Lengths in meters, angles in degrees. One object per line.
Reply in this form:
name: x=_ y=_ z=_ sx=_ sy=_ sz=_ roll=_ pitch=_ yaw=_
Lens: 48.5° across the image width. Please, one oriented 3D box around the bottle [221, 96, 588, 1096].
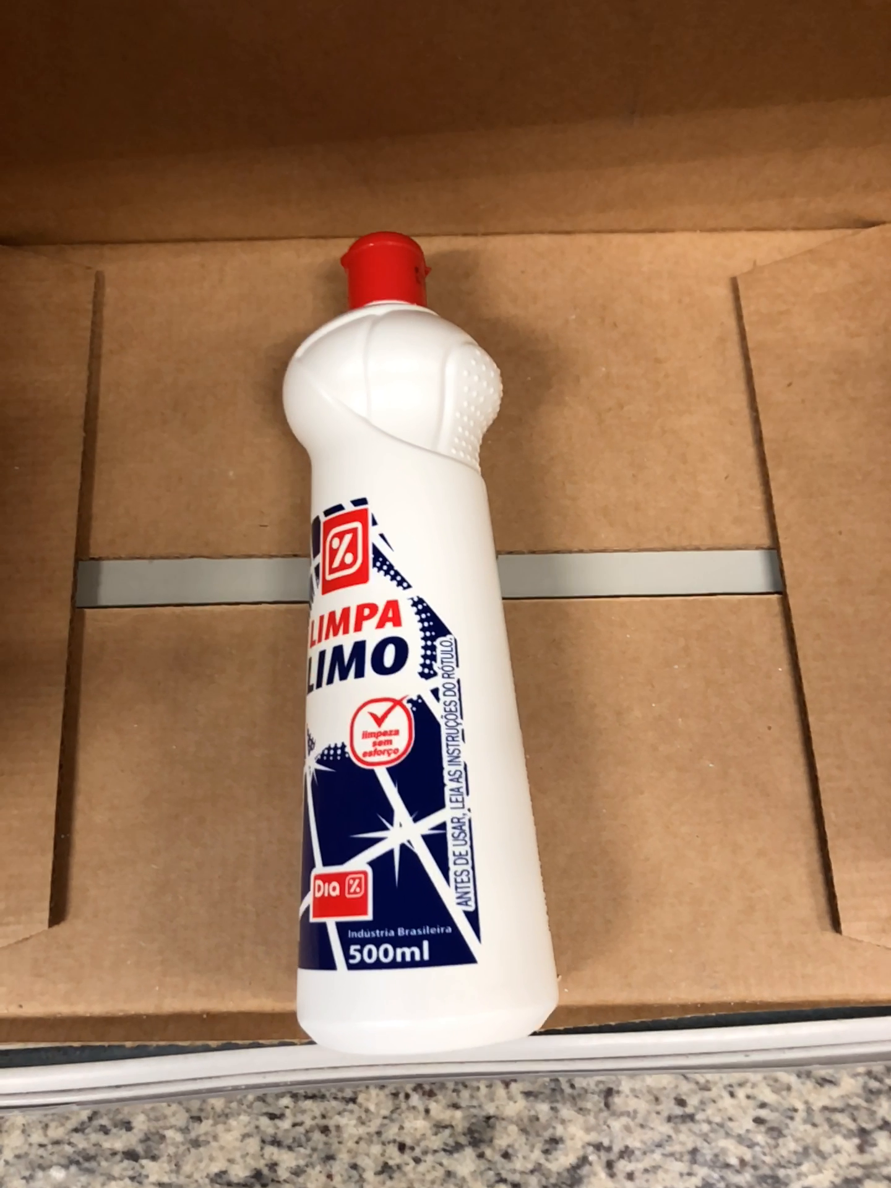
bottle: x=-0.017 y=-0.010 z=0.282 sx=0.080 sy=0.060 sz=0.260 roll=-3 pitch=75 yaw=-2
